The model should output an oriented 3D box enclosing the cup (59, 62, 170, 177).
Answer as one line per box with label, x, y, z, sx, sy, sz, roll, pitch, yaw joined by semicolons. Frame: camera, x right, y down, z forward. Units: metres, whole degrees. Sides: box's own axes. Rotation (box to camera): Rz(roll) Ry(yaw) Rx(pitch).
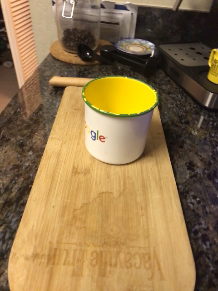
cup;-0.001;-0.046;0.341;0.100;0.089;0.131;-15;45;-21
